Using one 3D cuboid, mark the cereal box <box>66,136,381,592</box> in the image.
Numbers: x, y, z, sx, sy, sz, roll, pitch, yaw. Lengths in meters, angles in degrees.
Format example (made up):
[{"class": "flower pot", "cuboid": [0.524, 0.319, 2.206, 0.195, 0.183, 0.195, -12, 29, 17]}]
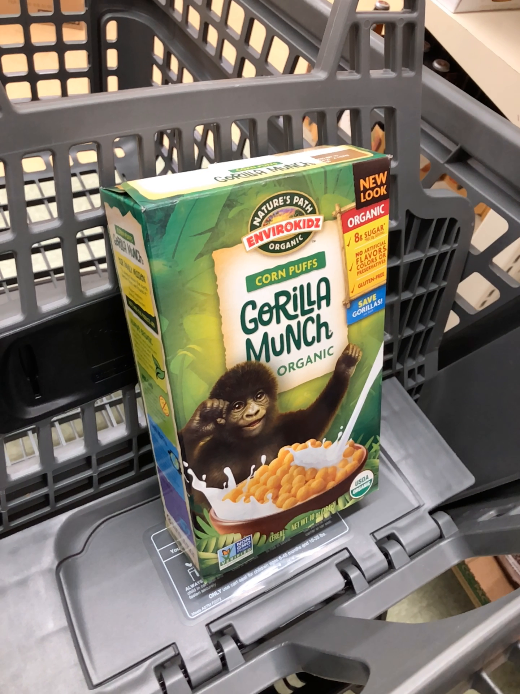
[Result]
[{"class": "cereal box", "cuboid": [-0.010, 0.012, 0.382, 0.160, 0.260, 0.070, -20, 33, -26]}]
